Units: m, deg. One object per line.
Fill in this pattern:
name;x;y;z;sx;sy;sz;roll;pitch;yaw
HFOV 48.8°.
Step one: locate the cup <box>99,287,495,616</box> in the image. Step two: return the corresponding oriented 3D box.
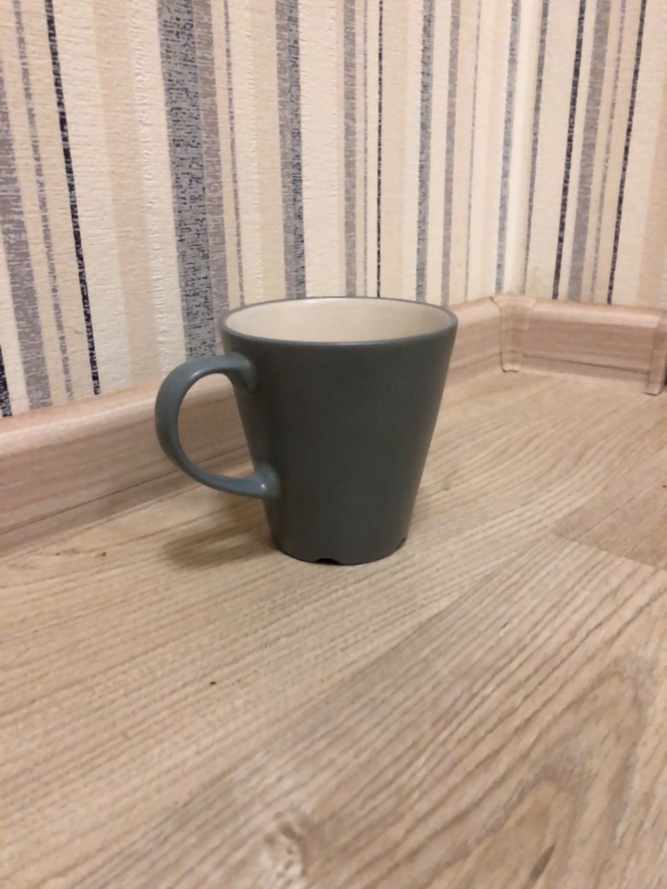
cup;-0.014;-0.010;0.305;0.125;0.089;0.096;-14;23;-34
